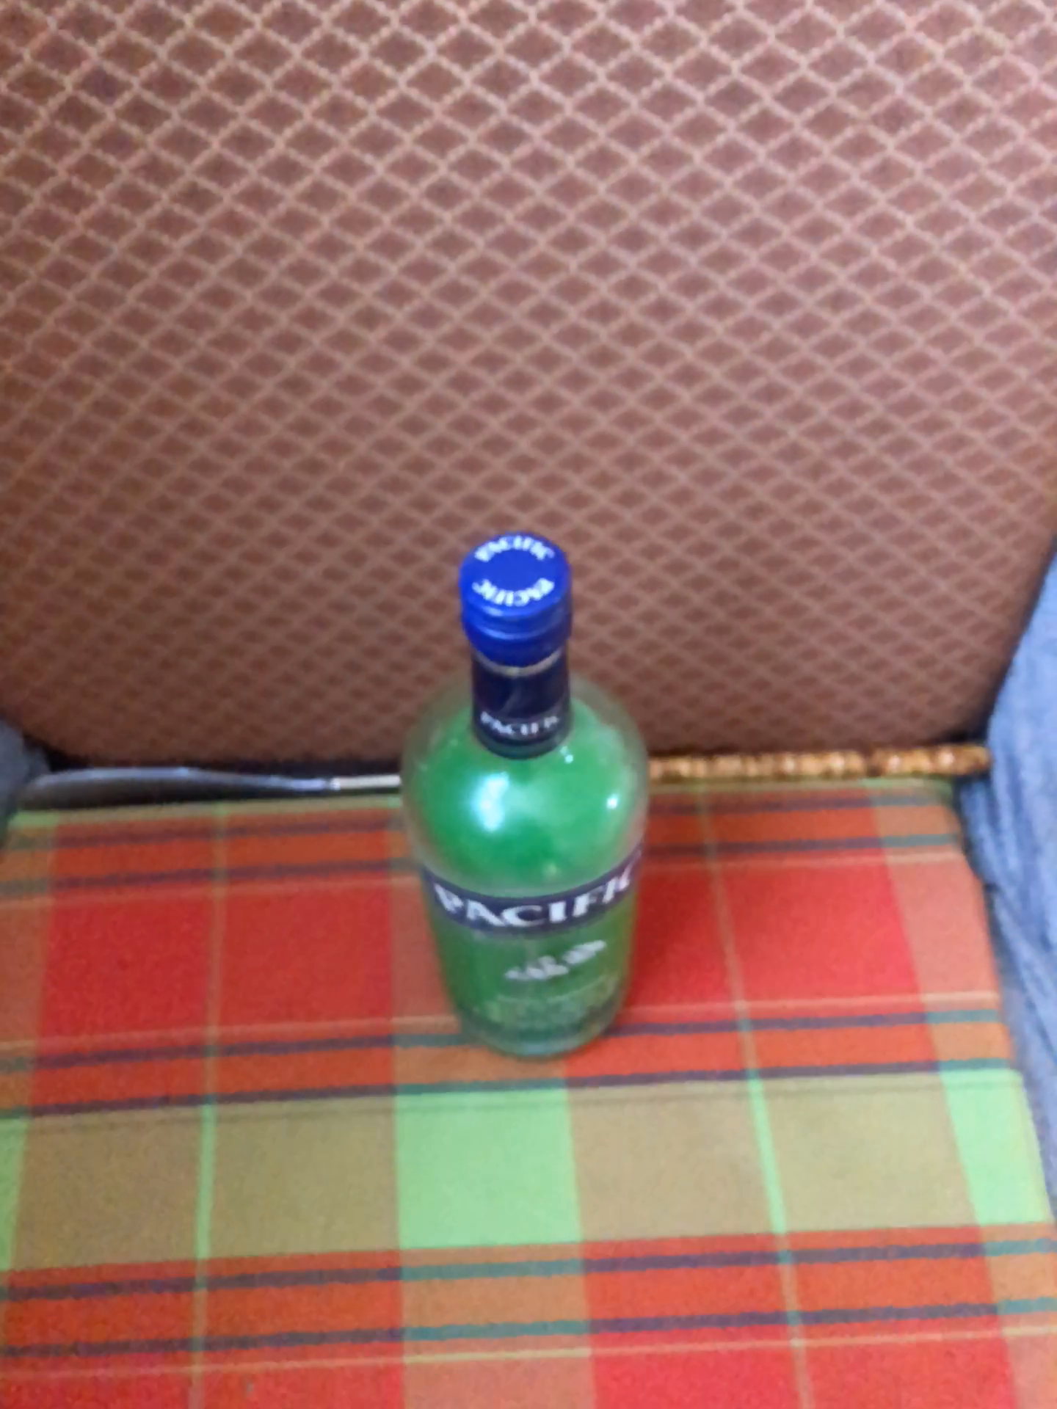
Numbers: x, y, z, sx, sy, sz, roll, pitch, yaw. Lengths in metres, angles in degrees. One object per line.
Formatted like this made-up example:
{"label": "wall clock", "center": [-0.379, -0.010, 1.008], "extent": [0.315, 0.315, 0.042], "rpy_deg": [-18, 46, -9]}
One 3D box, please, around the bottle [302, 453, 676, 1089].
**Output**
{"label": "bottle", "center": [-0.006, 0.049, 0.443], "extent": [0.090, 0.289, 0.080], "rpy_deg": [-11, 55, -4]}
